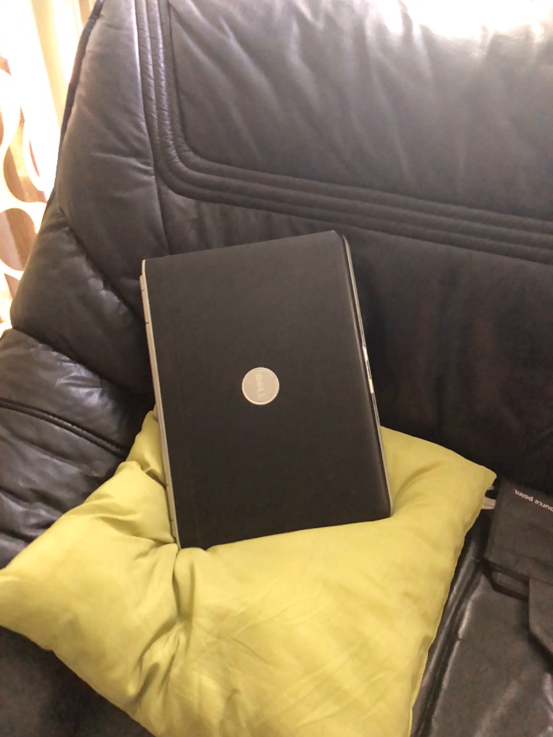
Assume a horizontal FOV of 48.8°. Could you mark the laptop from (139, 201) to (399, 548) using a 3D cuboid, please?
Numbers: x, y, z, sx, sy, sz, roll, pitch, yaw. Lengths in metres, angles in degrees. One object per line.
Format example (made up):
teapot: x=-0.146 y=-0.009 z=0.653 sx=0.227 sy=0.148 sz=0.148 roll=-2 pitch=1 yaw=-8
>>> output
laptop: x=-0.015 y=0.006 z=0.706 sx=0.247 sy=0.033 sz=0.345 roll=-9 pitch=82 yaw=1
